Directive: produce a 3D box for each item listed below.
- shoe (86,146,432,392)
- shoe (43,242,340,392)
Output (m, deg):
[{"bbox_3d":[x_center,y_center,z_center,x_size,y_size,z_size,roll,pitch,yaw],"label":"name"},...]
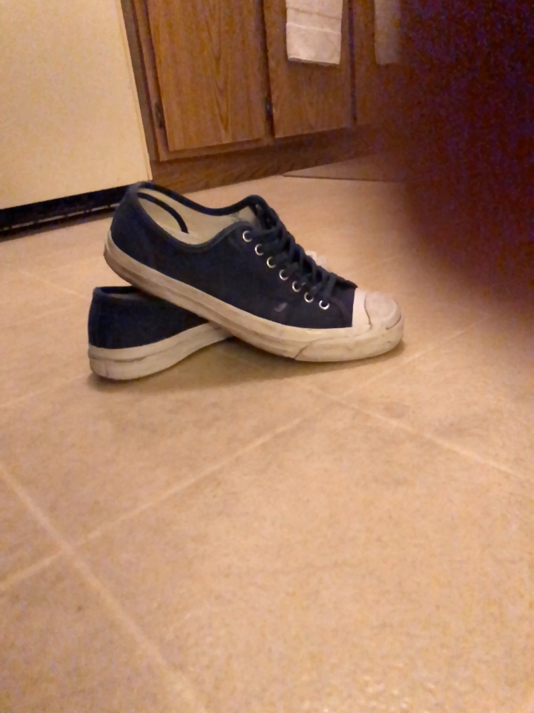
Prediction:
[{"bbox_3d":[-0.006,-0.081,0.542,0.290,0.099,0.101,19,44,-2],"label":"shoe"},{"bbox_3d":[-0.066,-0.056,0.613,0.291,0.080,0.110,-16,29,-39],"label":"shoe"}]
